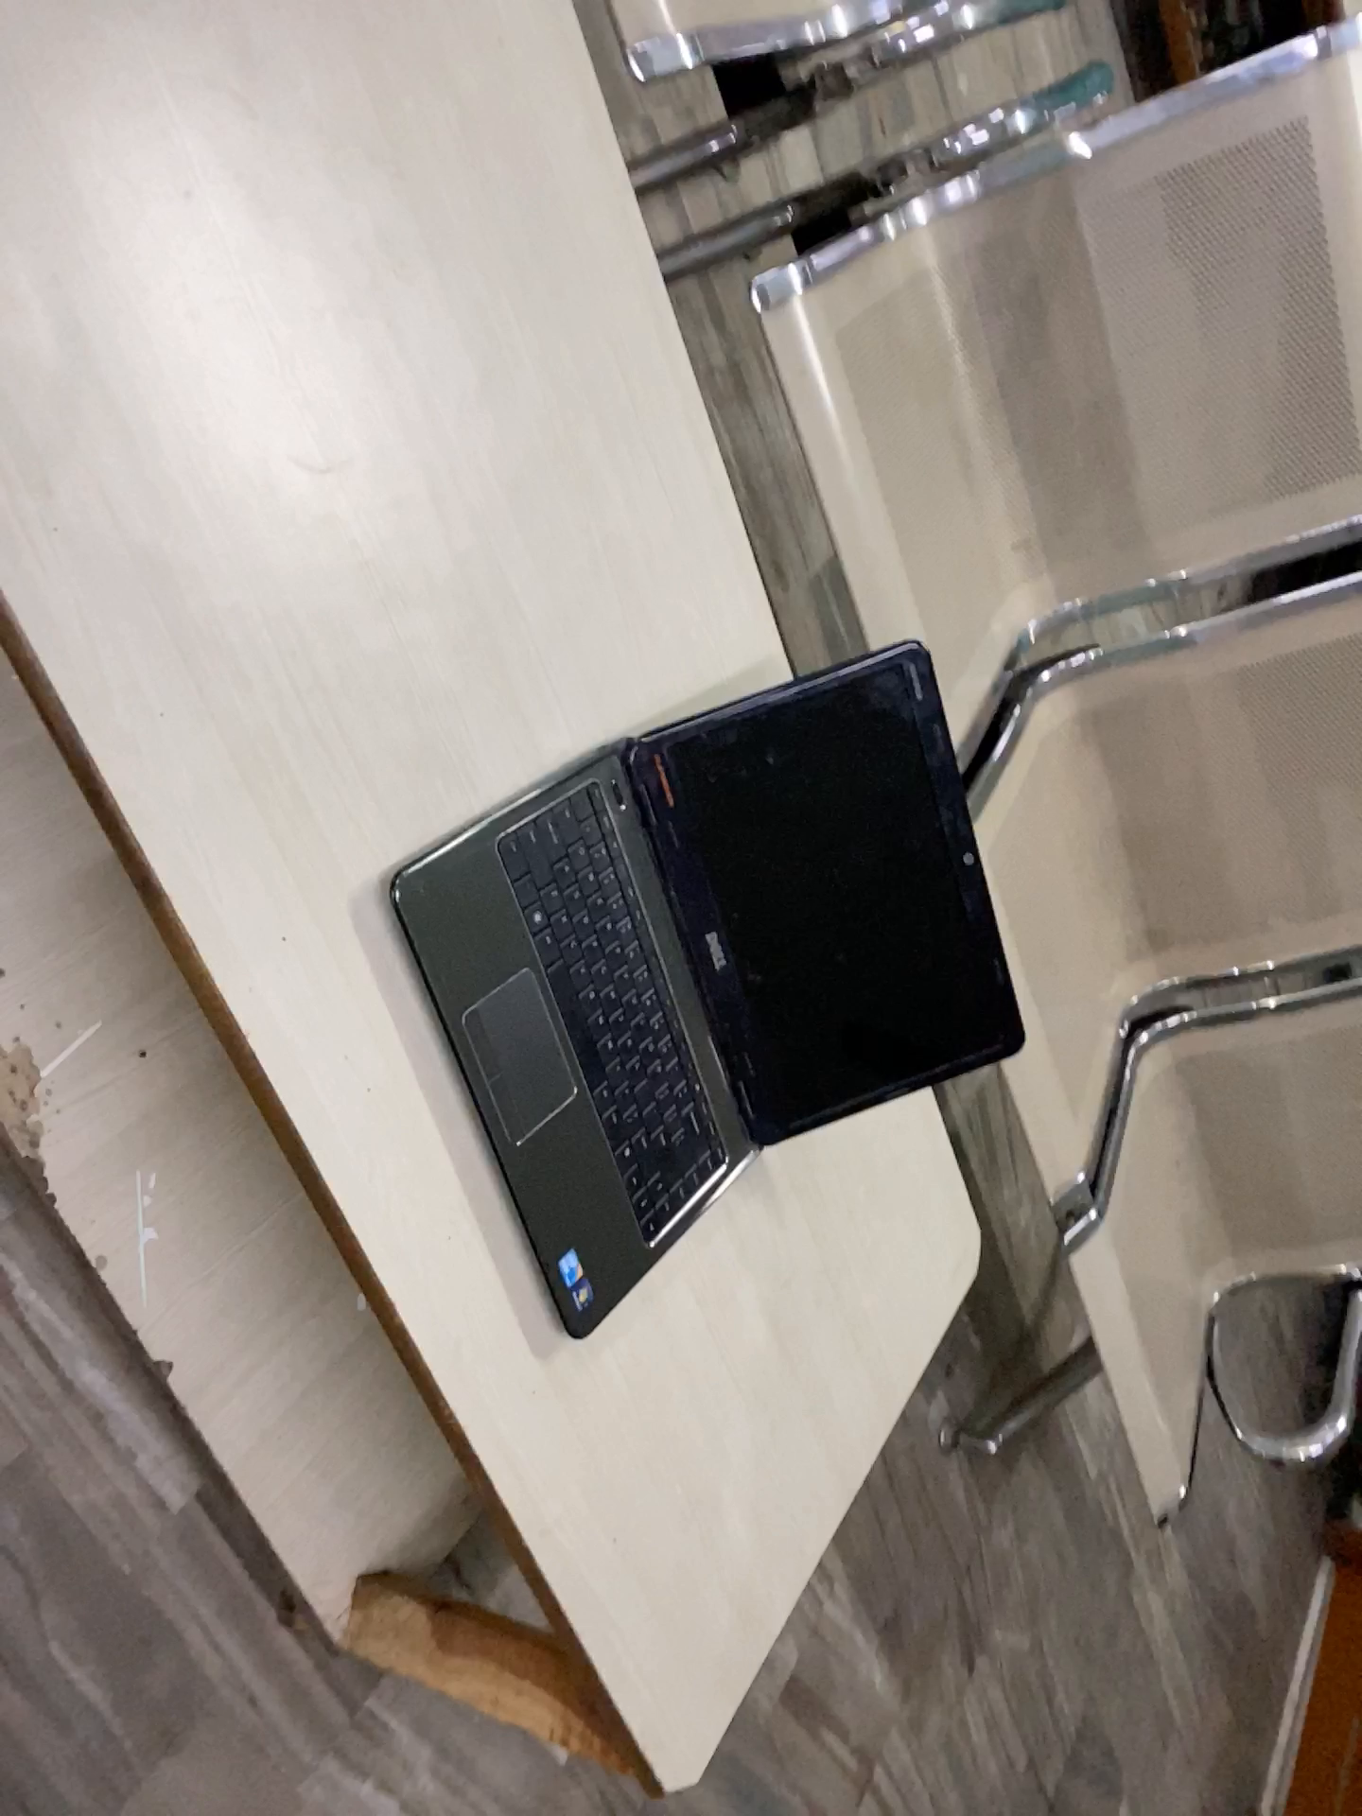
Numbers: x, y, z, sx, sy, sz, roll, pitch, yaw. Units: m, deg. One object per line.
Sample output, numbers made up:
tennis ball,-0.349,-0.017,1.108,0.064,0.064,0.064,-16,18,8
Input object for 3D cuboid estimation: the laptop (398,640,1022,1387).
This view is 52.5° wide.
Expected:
laptop,0.052,0.049,0.927,0.380,0.152,0.329,-39,119,-44
